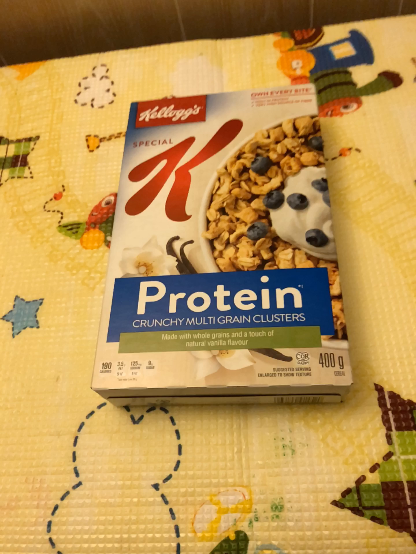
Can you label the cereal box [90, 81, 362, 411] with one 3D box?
[{"bbox_3d":[0.015,-0.032,0.353,0.160,0.060,0.251,-1,64,6],"label":"cereal box"}]
